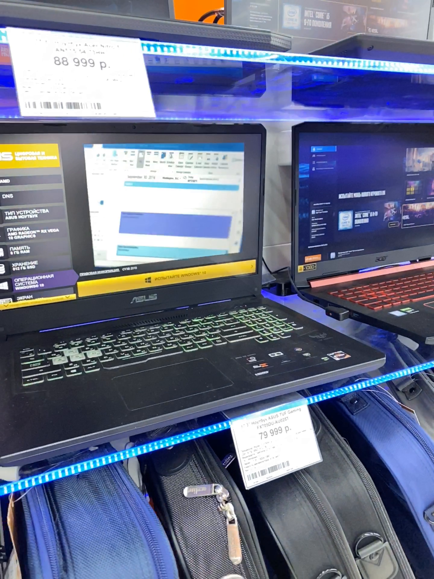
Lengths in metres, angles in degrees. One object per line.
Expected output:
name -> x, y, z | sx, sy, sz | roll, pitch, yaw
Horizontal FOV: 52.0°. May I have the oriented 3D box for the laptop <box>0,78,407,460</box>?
laptop -> -0.052, -0.056, 0.500 | 0.397, 0.265, 0.270 | -8, 16, -24
